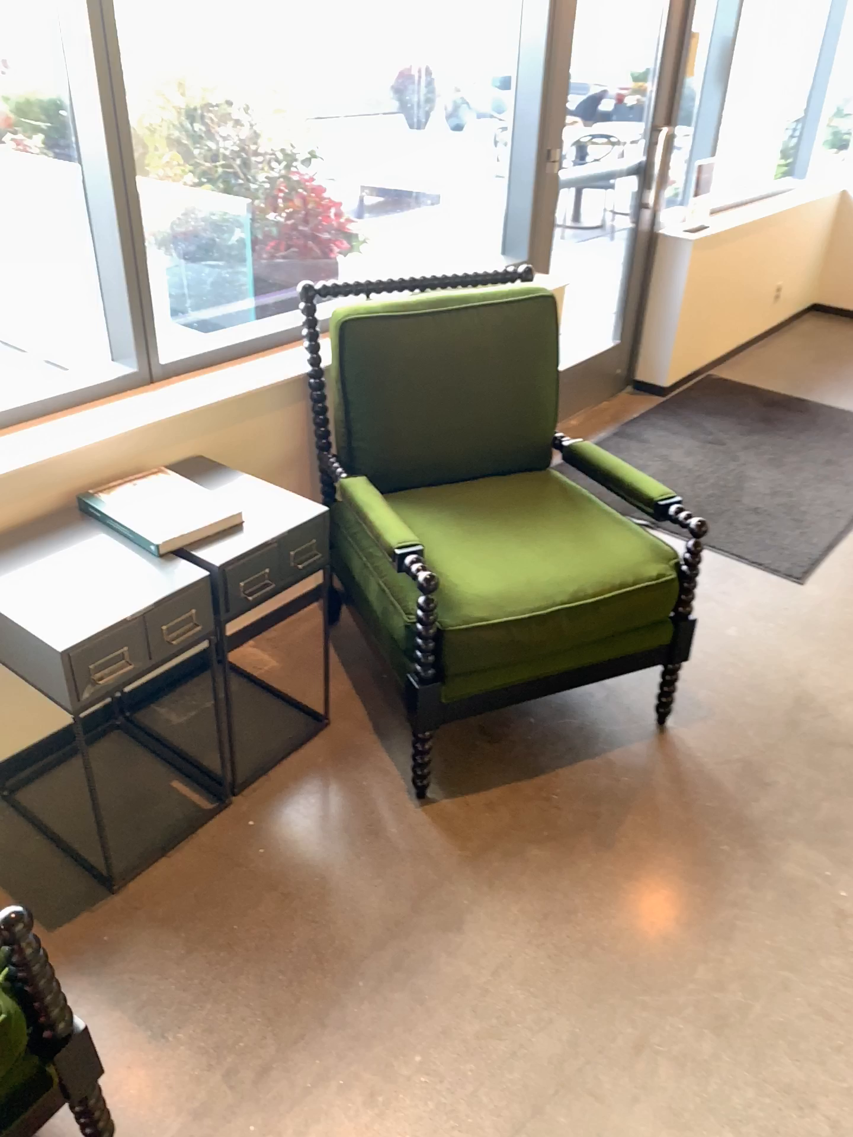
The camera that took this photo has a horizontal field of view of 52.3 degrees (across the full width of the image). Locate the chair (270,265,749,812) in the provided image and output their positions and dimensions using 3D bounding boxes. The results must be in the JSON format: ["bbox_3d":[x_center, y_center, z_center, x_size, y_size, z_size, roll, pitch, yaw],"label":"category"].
[{"bbox_3d":[0.111,-0.151,2.256,0.760,0.983,0.926,-11,34,-20],"label":"chair"}]

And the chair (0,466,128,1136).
[{"bbox_3d":[-1.019,0.585,0.973,0.732,0.974,0.924,21,36,27],"label":"chair"}]
